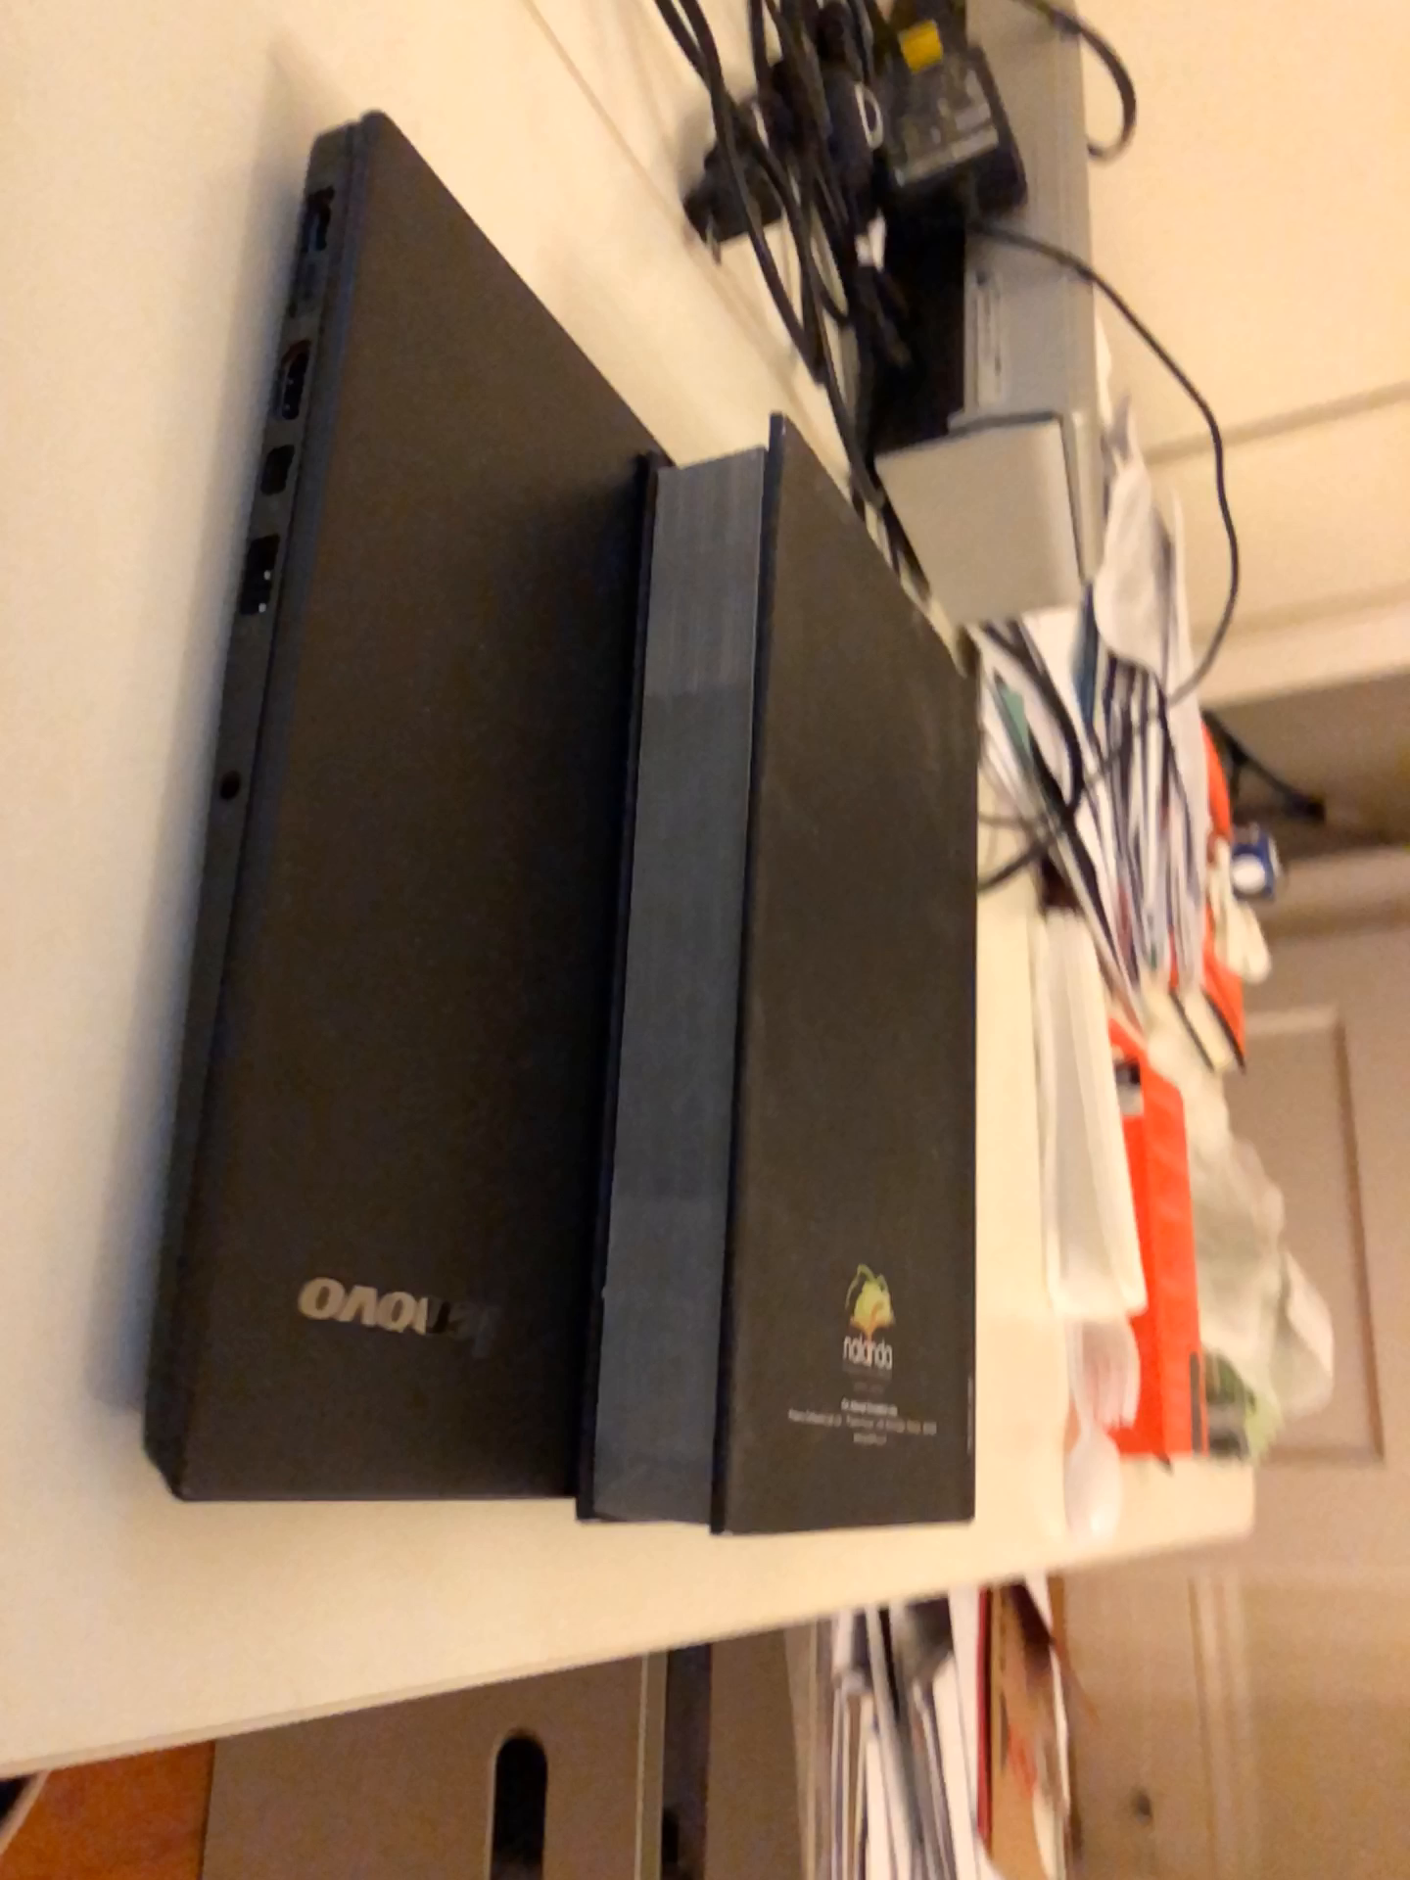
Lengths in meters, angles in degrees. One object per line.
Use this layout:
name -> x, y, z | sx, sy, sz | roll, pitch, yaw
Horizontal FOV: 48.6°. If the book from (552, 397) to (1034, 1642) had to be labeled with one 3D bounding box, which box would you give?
book -> 0.028, 0.024, 0.350 | 0.151, 0.040, 0.230 | 34, 53, -58
